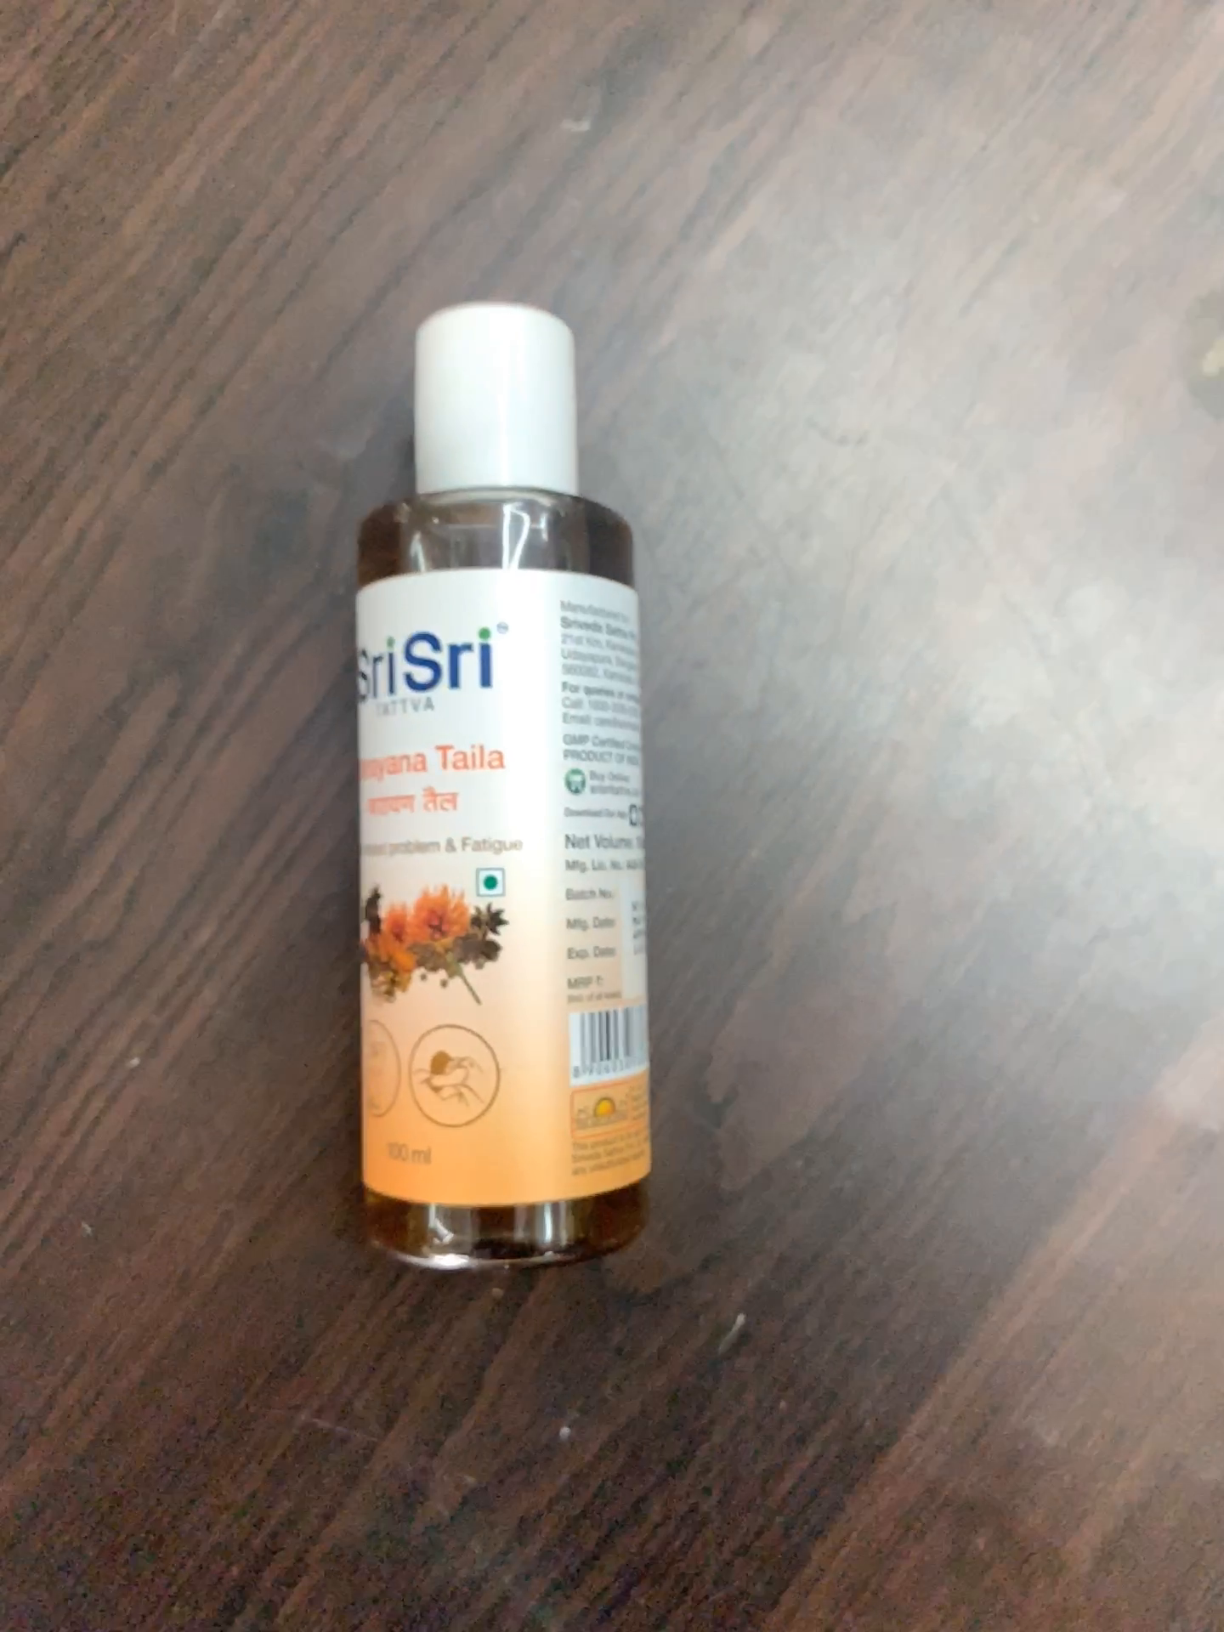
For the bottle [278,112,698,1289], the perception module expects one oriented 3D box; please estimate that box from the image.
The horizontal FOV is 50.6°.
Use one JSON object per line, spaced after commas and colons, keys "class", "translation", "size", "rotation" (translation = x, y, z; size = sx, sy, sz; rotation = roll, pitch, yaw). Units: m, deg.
{"class": "bottle", "translation": [-0.016, -0.013, 0.178], "size": [0.040, 0.040, 0.140], "rotation": [-3, 87, 19]}
